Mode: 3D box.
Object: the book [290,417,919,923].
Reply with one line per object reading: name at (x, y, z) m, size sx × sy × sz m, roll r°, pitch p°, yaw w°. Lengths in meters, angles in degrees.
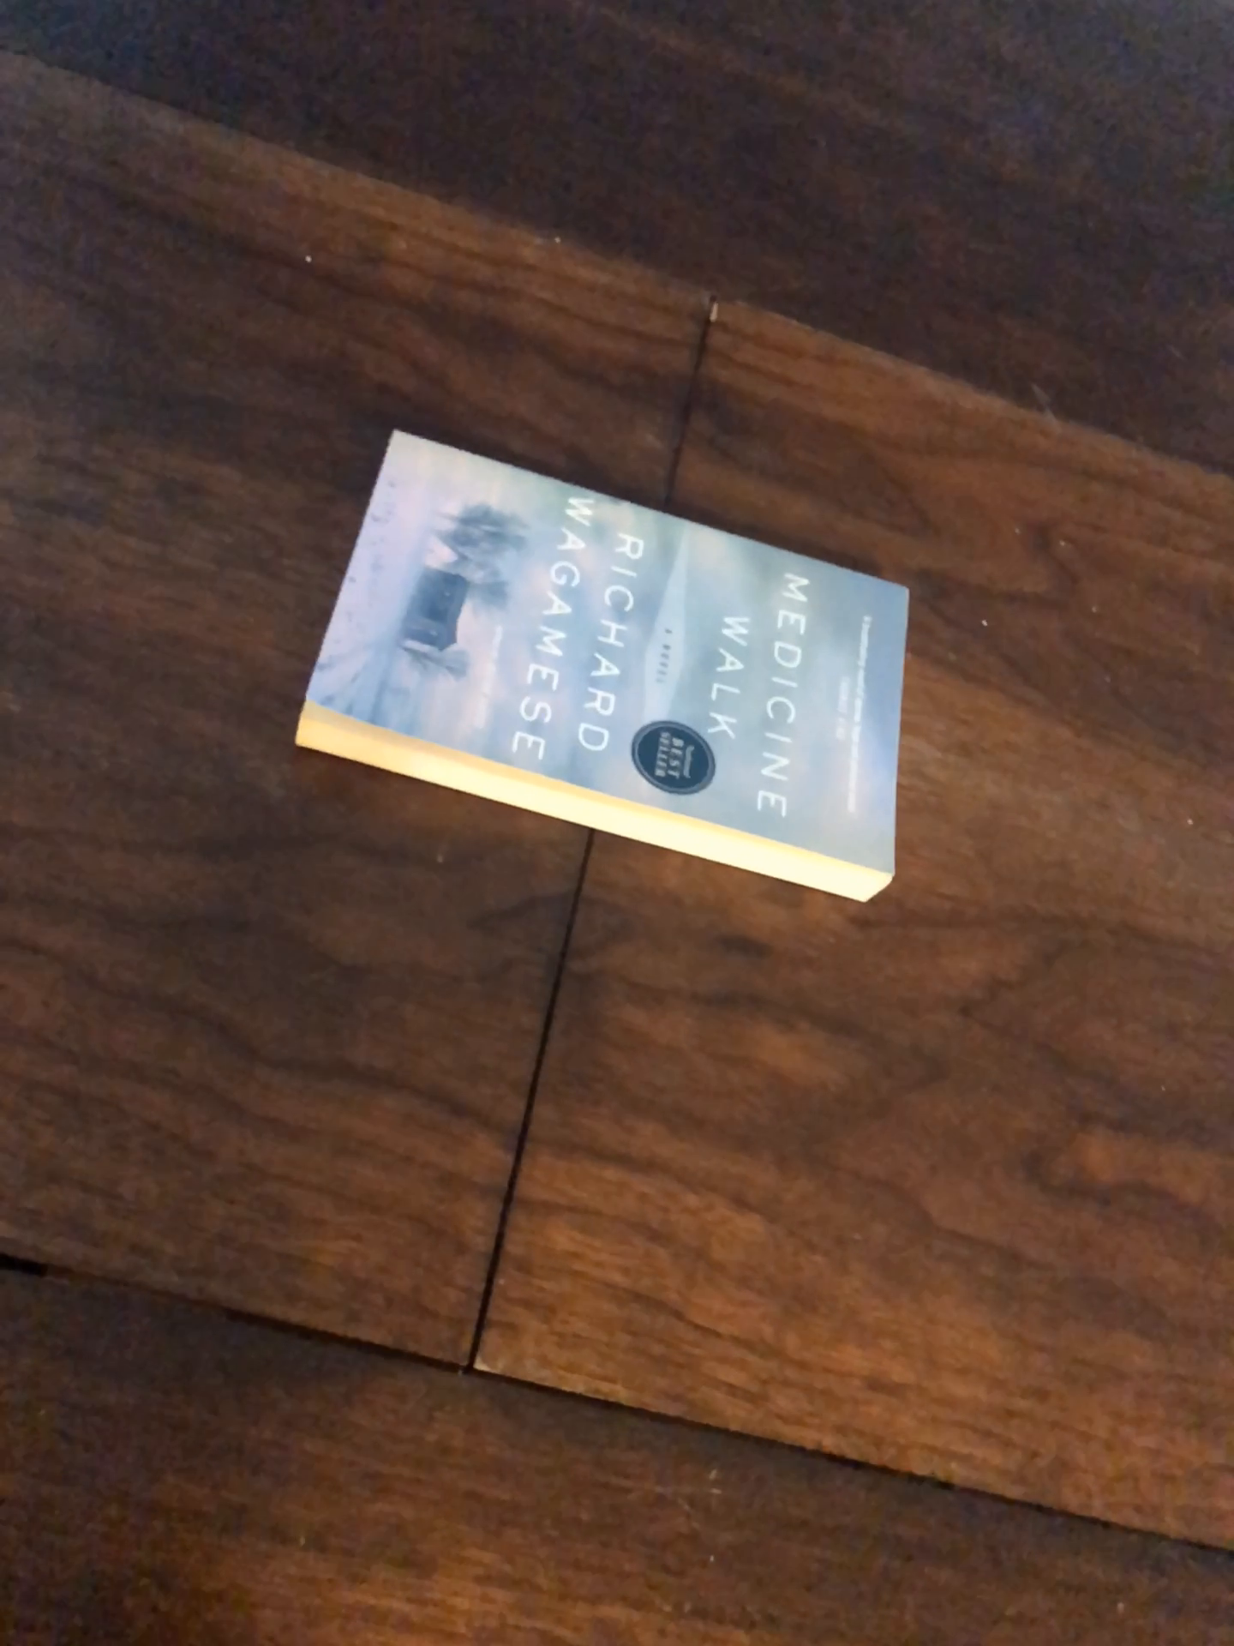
book at (0.004, -0.057, 0.493) m, size 0.206 × 0.027 × 0.138 m, roll 16°, pitch 59°, yaw -8°
